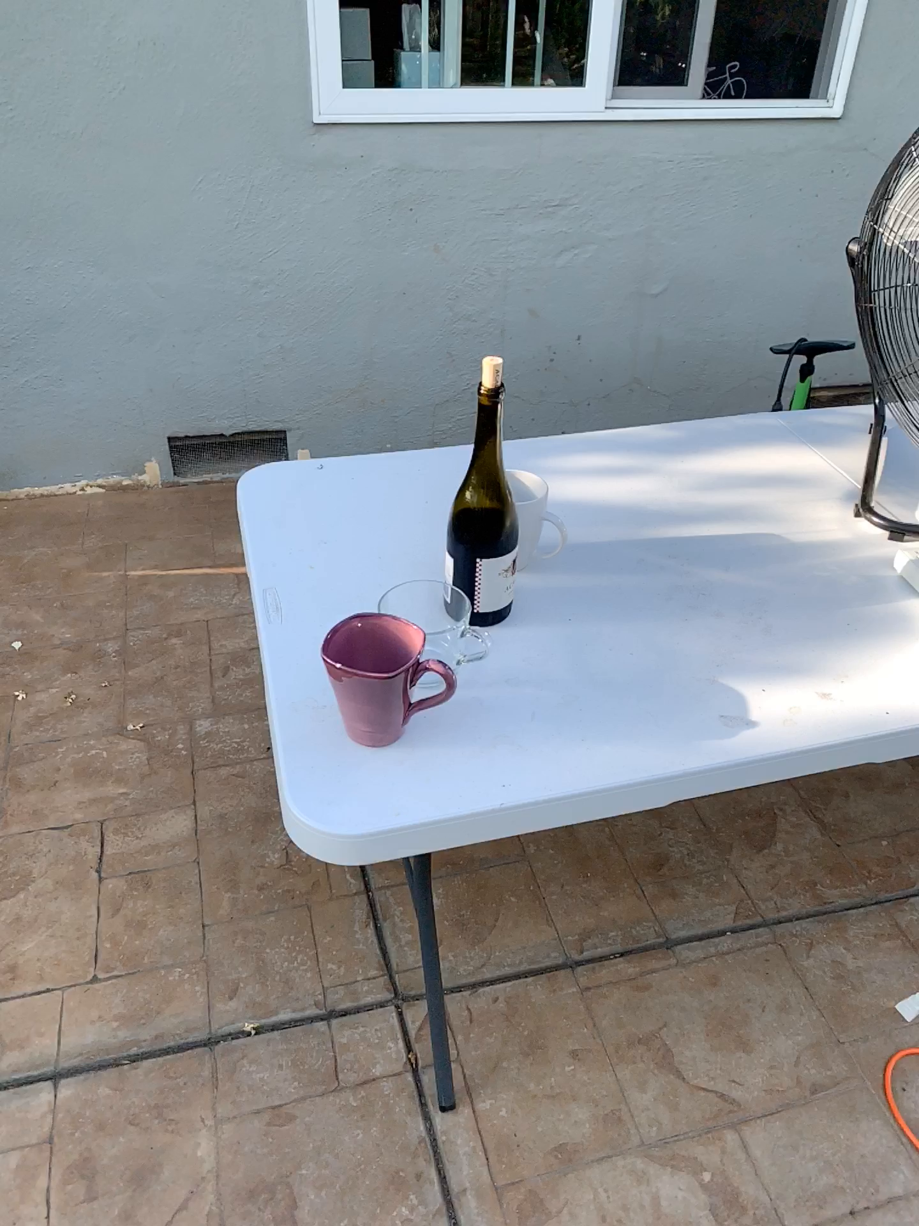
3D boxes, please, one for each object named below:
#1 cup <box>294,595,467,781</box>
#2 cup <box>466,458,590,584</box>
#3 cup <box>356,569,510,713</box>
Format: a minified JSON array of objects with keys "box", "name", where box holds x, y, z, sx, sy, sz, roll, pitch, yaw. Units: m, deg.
[{"box":[-0.075,0.070,0.920,0.130,0.109,0.100,18,38,21],"name":"cup"},{"box":[0.084,-0.116,1.167,0.120,0.099,0.090,18,38,21],"name":"cup"},{"box":[-0.027,0.027,1.013,0.130,0.079,0.100,18,38,21],"name":"cup"}]
